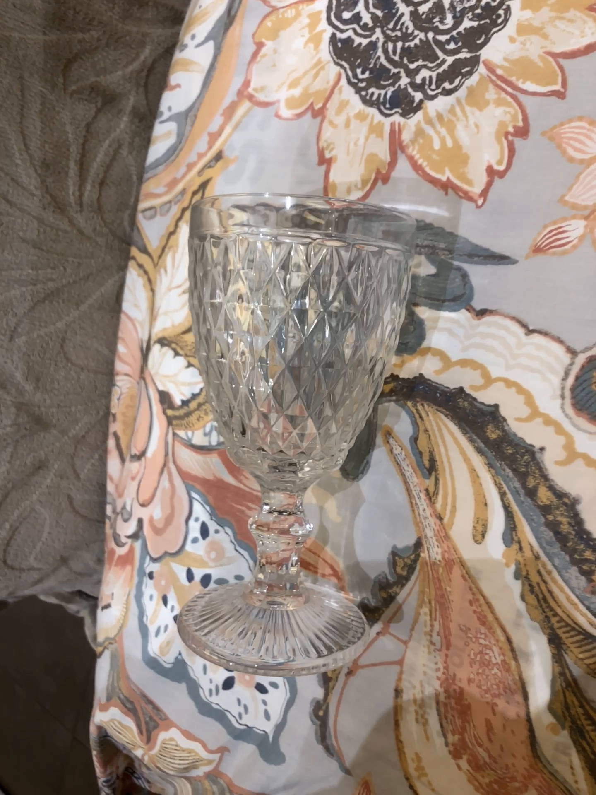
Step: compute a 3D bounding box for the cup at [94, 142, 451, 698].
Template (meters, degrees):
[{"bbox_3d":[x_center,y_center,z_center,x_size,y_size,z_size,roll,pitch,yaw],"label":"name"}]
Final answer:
[{"bbox_3d":[-0.009,0.003,0.259,0.090,0.080,0.170,9,94,32],"label":"cup"}]
